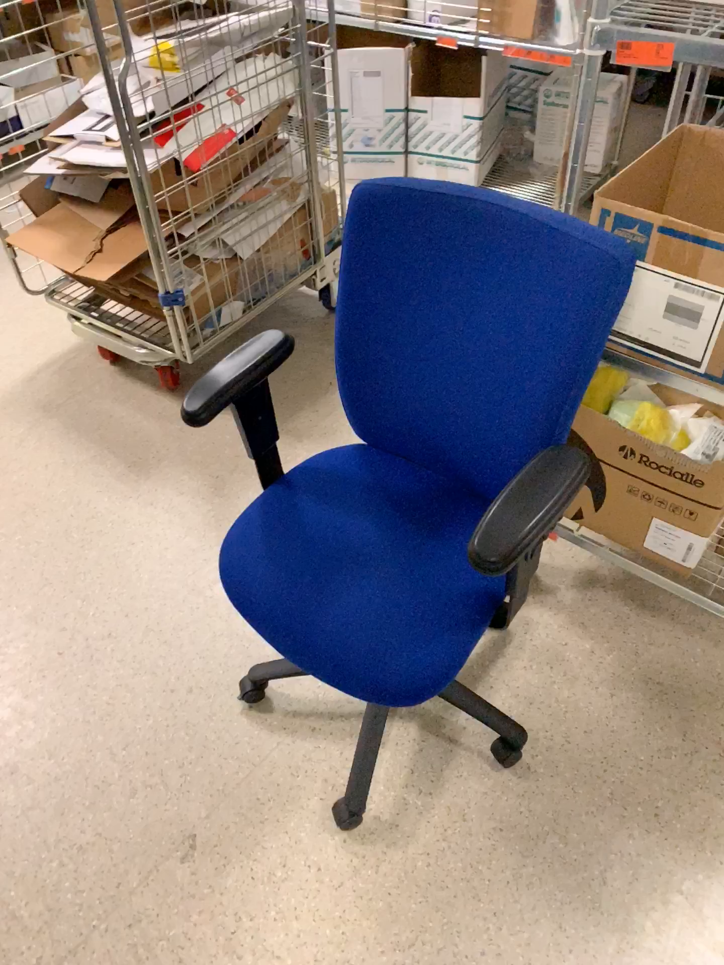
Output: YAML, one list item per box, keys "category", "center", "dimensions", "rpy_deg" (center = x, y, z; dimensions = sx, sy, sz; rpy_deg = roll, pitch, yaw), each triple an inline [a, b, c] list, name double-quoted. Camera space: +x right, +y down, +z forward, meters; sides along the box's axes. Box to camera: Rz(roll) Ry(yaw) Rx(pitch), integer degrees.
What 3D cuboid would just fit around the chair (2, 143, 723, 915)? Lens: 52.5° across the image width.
- category: "chair"
  center: [0.032, 0.079, 1.280]
  dimensions: [0.681, 0.950, 0.669]
  rpy_deg: [31, 54, 29]
